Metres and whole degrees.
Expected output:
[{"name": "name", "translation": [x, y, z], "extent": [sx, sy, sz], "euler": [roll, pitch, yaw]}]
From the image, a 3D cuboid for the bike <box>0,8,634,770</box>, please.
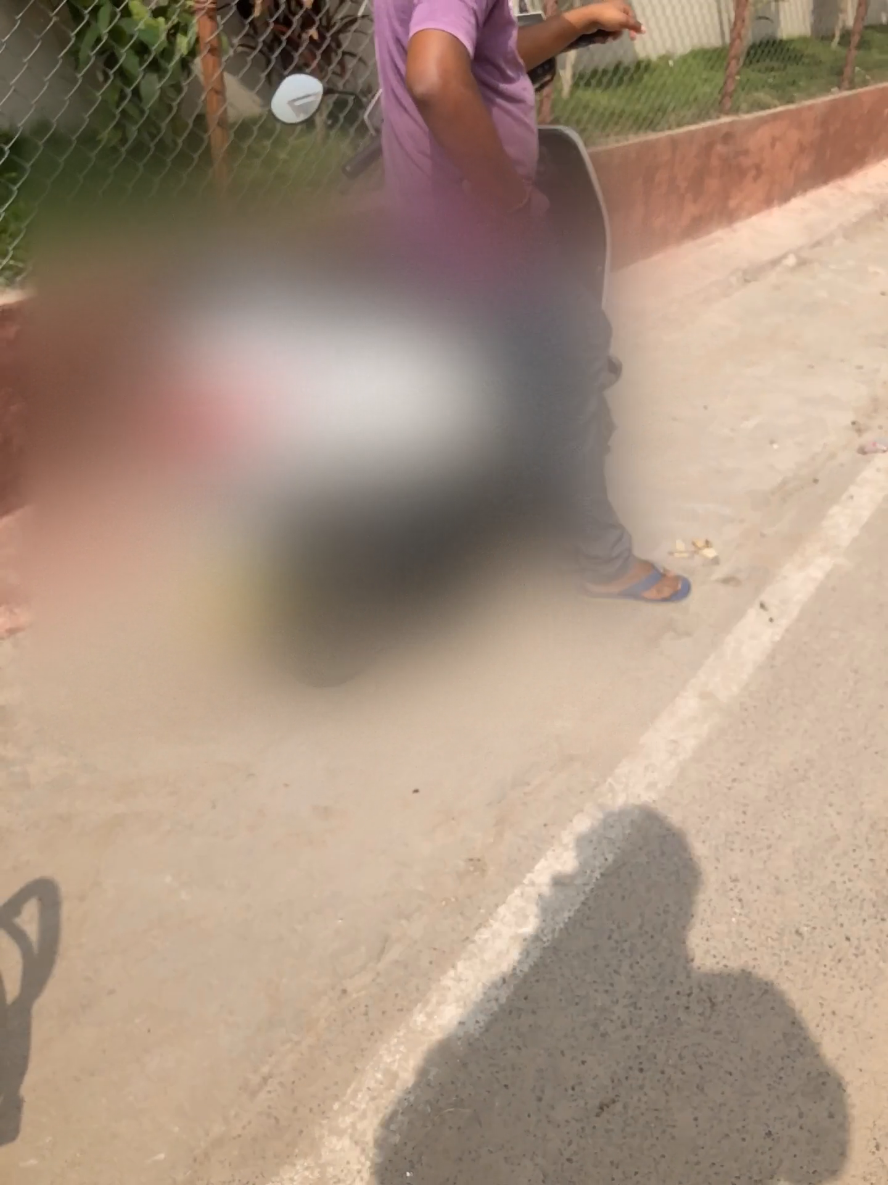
[{"name": "bike", "translation": [-0.123, -0.615, 2.226], "extent": [0.617, 1.113, 1.562], "euler": [15, 37, 19]}]
